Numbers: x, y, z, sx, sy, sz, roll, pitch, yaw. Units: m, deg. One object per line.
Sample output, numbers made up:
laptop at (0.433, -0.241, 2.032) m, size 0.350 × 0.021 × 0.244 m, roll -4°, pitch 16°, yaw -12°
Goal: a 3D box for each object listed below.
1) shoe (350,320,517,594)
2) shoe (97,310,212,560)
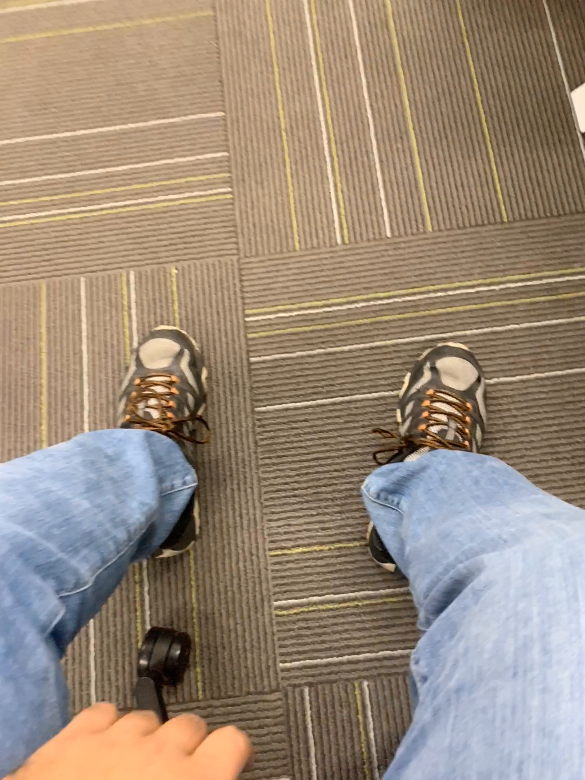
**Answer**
shoe at (0.185, 0.086, 0.799) m, size 0.122 × 0.095 × 0.322 m, roll 17°, pitch 78°, yaw 7°
shoe at (-0.183, 0.062, 0.825) m, size 0.125 × 0.095 × 0.323 m, roll -3°, pitch 77°, yaw 2°
